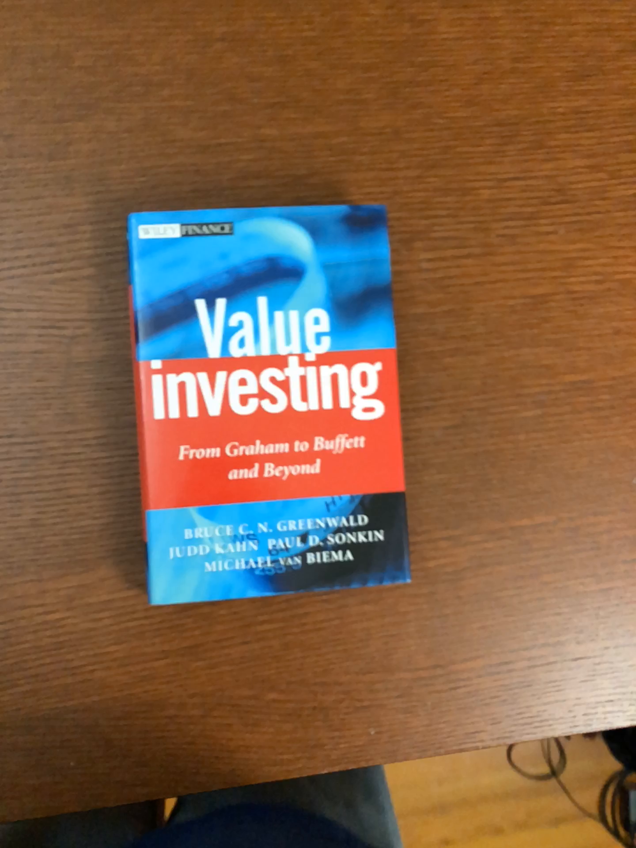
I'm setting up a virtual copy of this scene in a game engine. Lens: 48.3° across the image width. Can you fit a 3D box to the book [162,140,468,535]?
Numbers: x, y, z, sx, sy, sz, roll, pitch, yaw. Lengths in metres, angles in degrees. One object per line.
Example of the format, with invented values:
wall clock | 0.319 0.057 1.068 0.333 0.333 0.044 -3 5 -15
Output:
book | -0.002 -0.055 0.434 0.170 0.020 0.230 -3 88 -6
